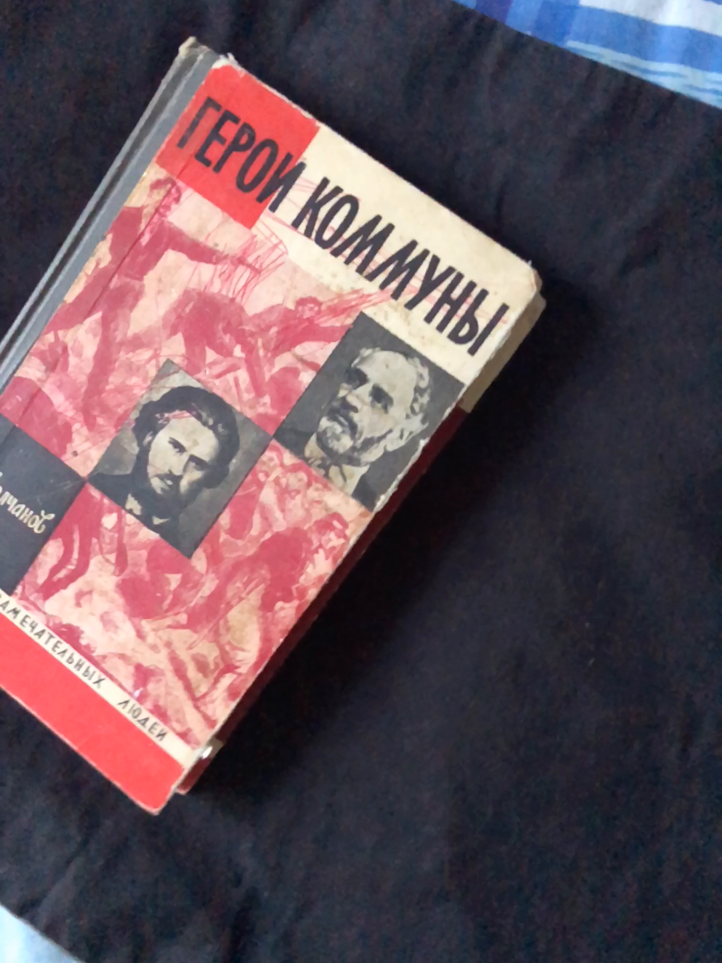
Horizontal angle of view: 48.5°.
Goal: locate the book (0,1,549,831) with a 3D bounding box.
[{"bbox_3d":[-0.054,-0.017,0.259,0.128,0.060,0.200,36,97,8],"label":"book"}]
